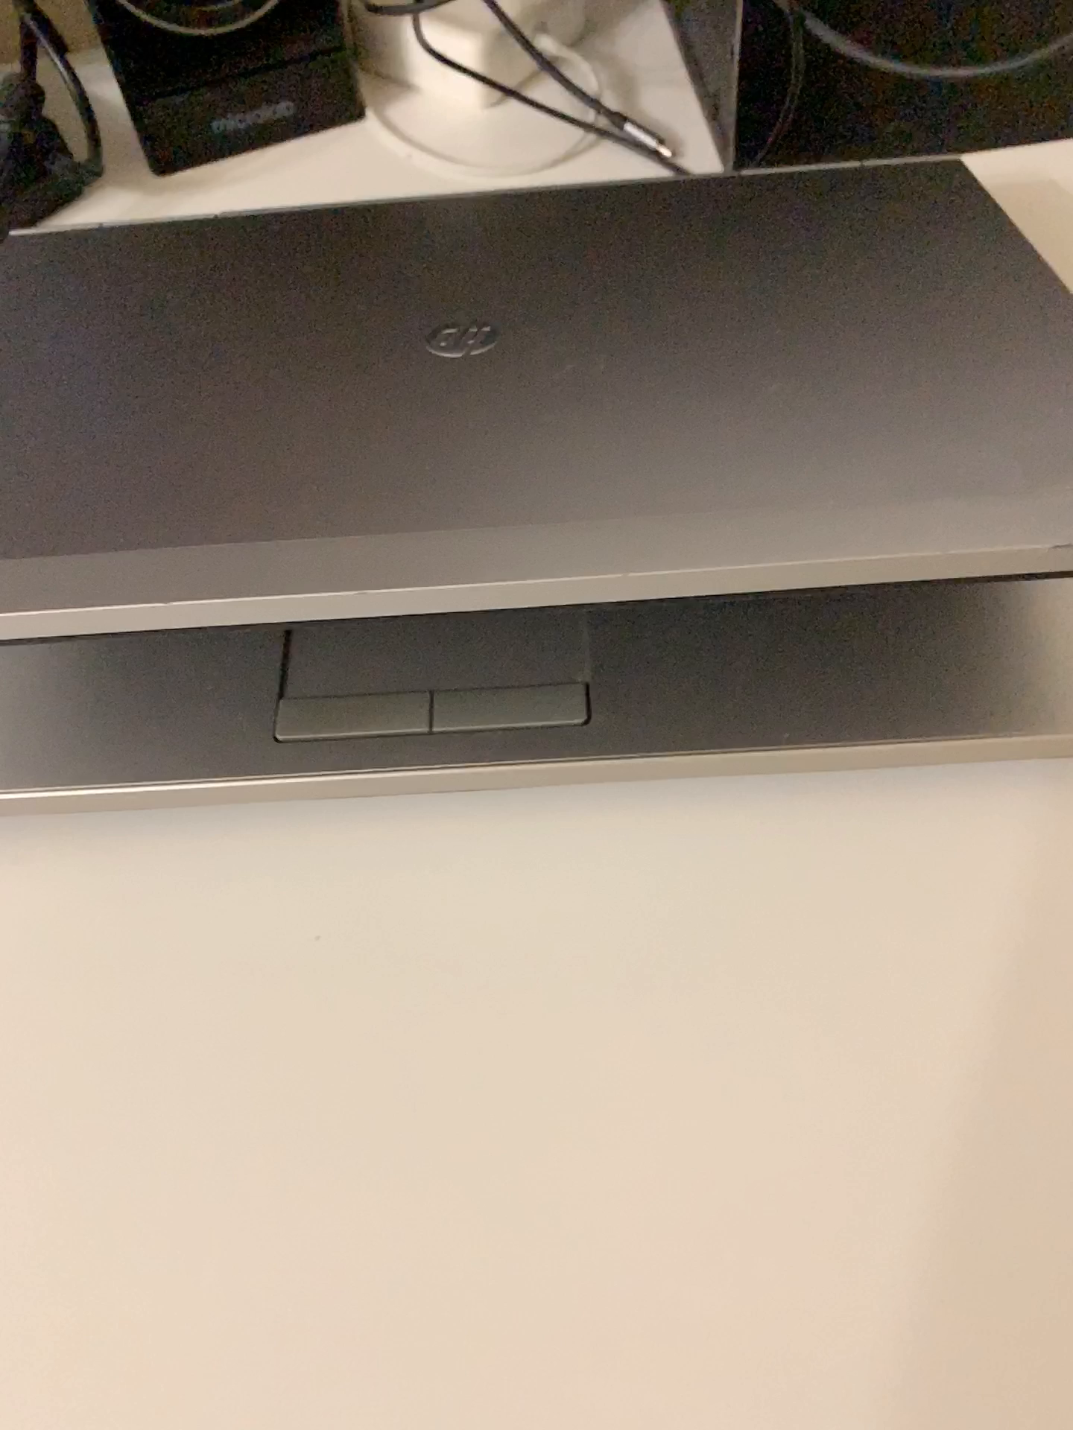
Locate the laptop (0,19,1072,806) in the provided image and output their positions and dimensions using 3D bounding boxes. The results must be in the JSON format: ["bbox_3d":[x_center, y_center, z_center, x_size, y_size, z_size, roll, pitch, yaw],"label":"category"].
[{"bbox_3d":[-0.014,-0.088,0.290,0.303,0.042,0.201,-3,61,2],"label":"laptop"}]
